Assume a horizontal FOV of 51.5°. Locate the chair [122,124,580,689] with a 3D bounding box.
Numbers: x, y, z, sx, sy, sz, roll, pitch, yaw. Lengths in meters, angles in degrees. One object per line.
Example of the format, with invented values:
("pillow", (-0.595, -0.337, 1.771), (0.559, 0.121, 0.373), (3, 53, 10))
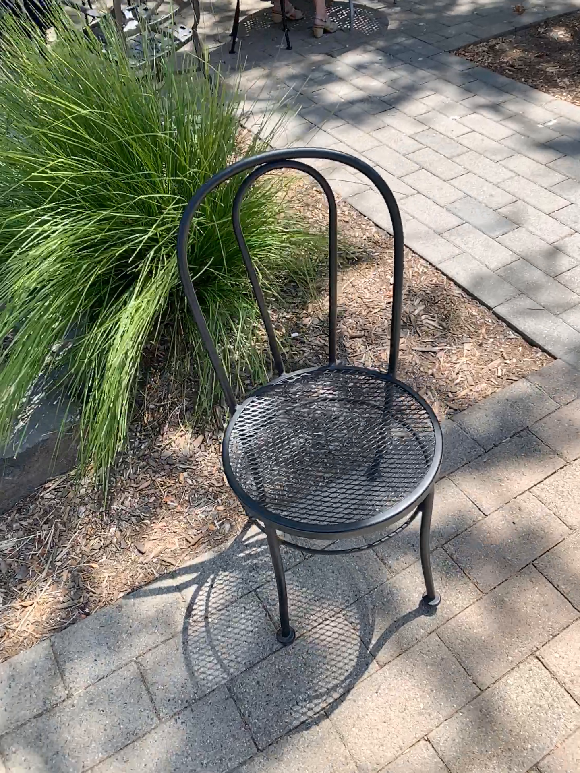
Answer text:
("chair", (0.047, 0.068, 1.078), (0.469, 0.788, 0.543), (-12, 47, -9))
